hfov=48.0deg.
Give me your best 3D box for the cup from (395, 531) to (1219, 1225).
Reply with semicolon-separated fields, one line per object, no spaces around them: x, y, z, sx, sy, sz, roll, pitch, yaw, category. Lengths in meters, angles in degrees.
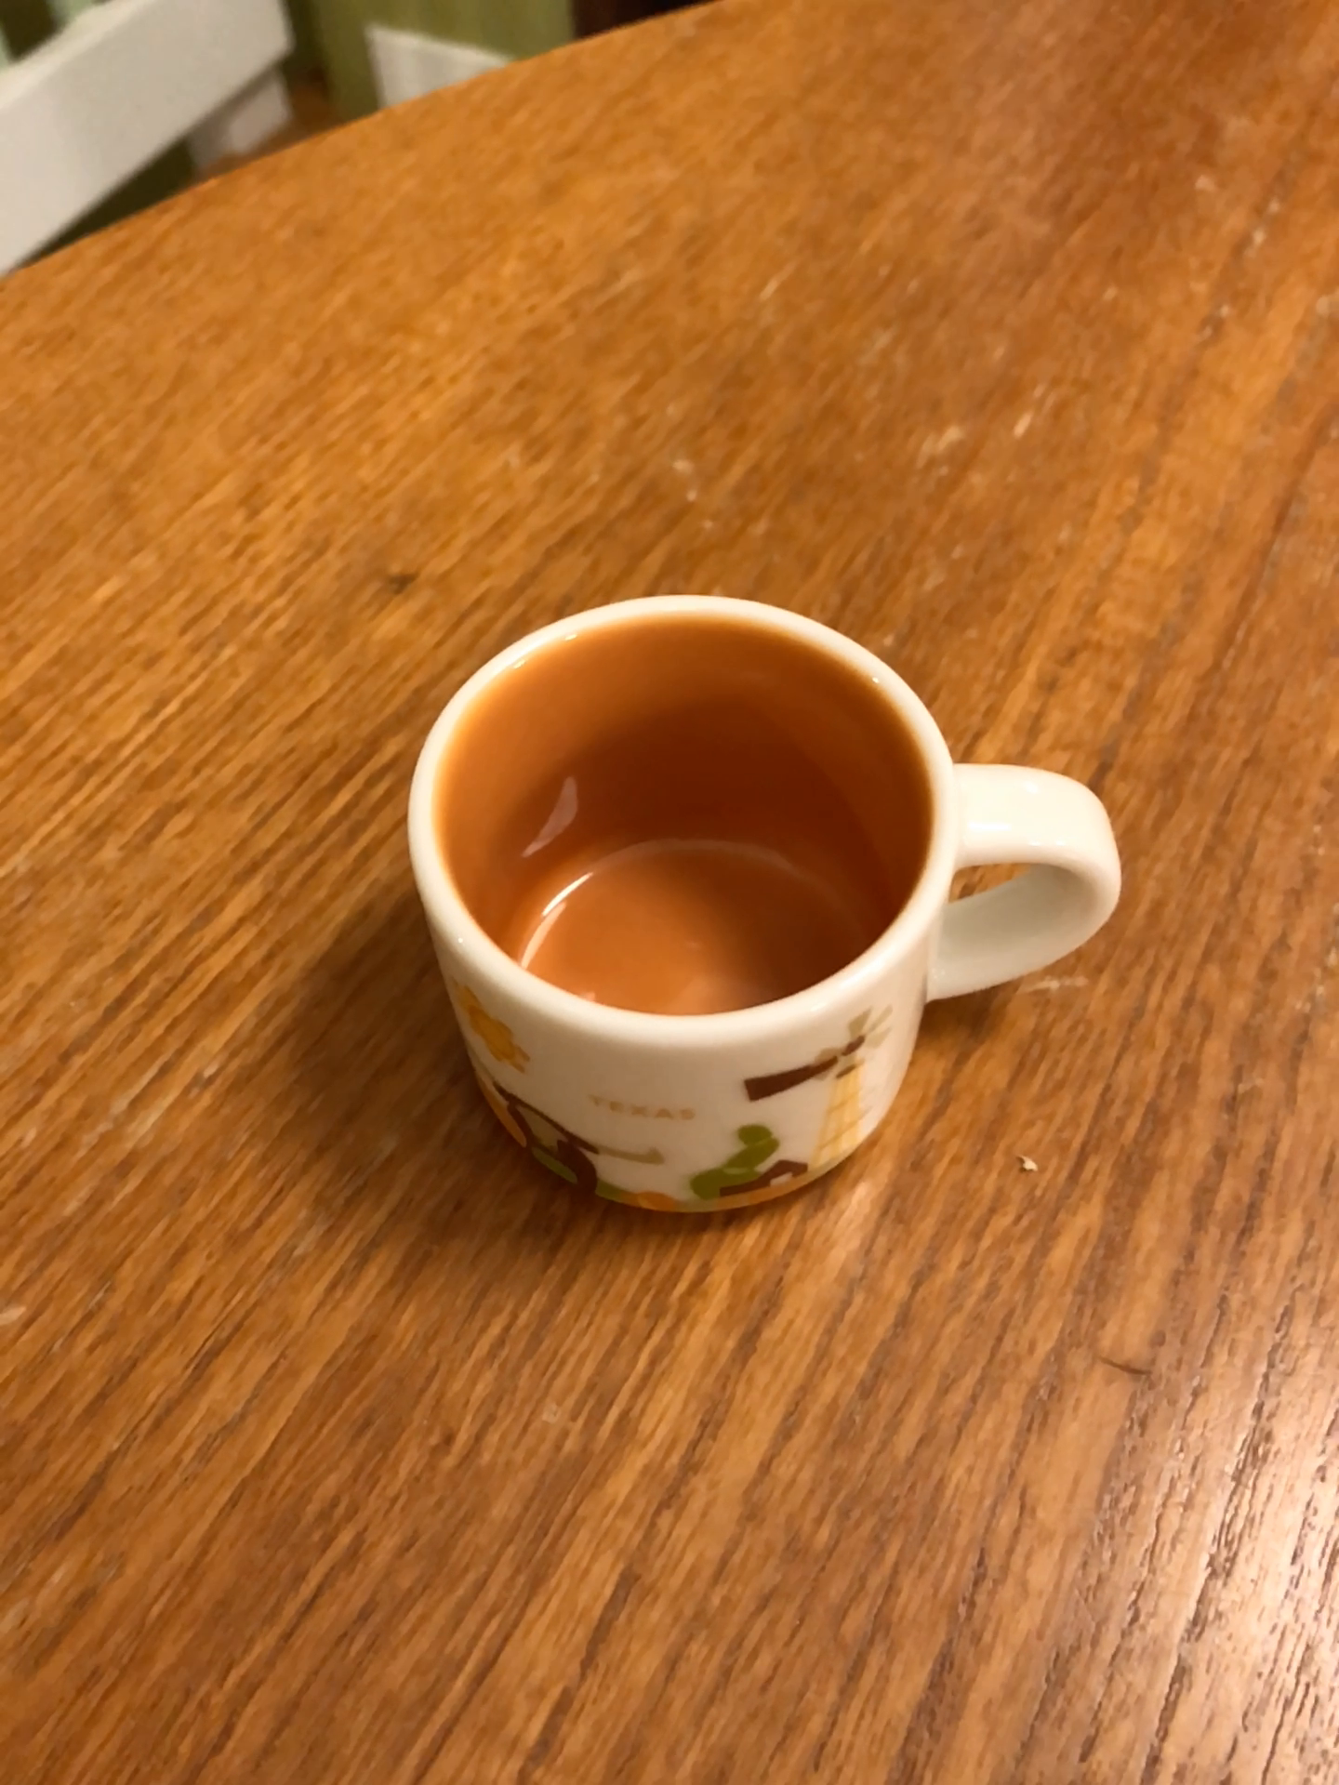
0.012;-0.001;0.182;0.080;0.049;0.060;-5;56;-1;cup
